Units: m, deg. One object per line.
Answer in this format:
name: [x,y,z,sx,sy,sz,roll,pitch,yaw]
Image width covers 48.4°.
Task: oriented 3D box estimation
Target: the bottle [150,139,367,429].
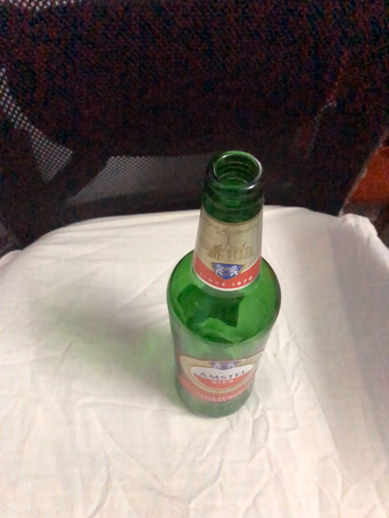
bottle: [0.018,0.049,0.296,0.080,0.279,0.060,-4,57,-5]
